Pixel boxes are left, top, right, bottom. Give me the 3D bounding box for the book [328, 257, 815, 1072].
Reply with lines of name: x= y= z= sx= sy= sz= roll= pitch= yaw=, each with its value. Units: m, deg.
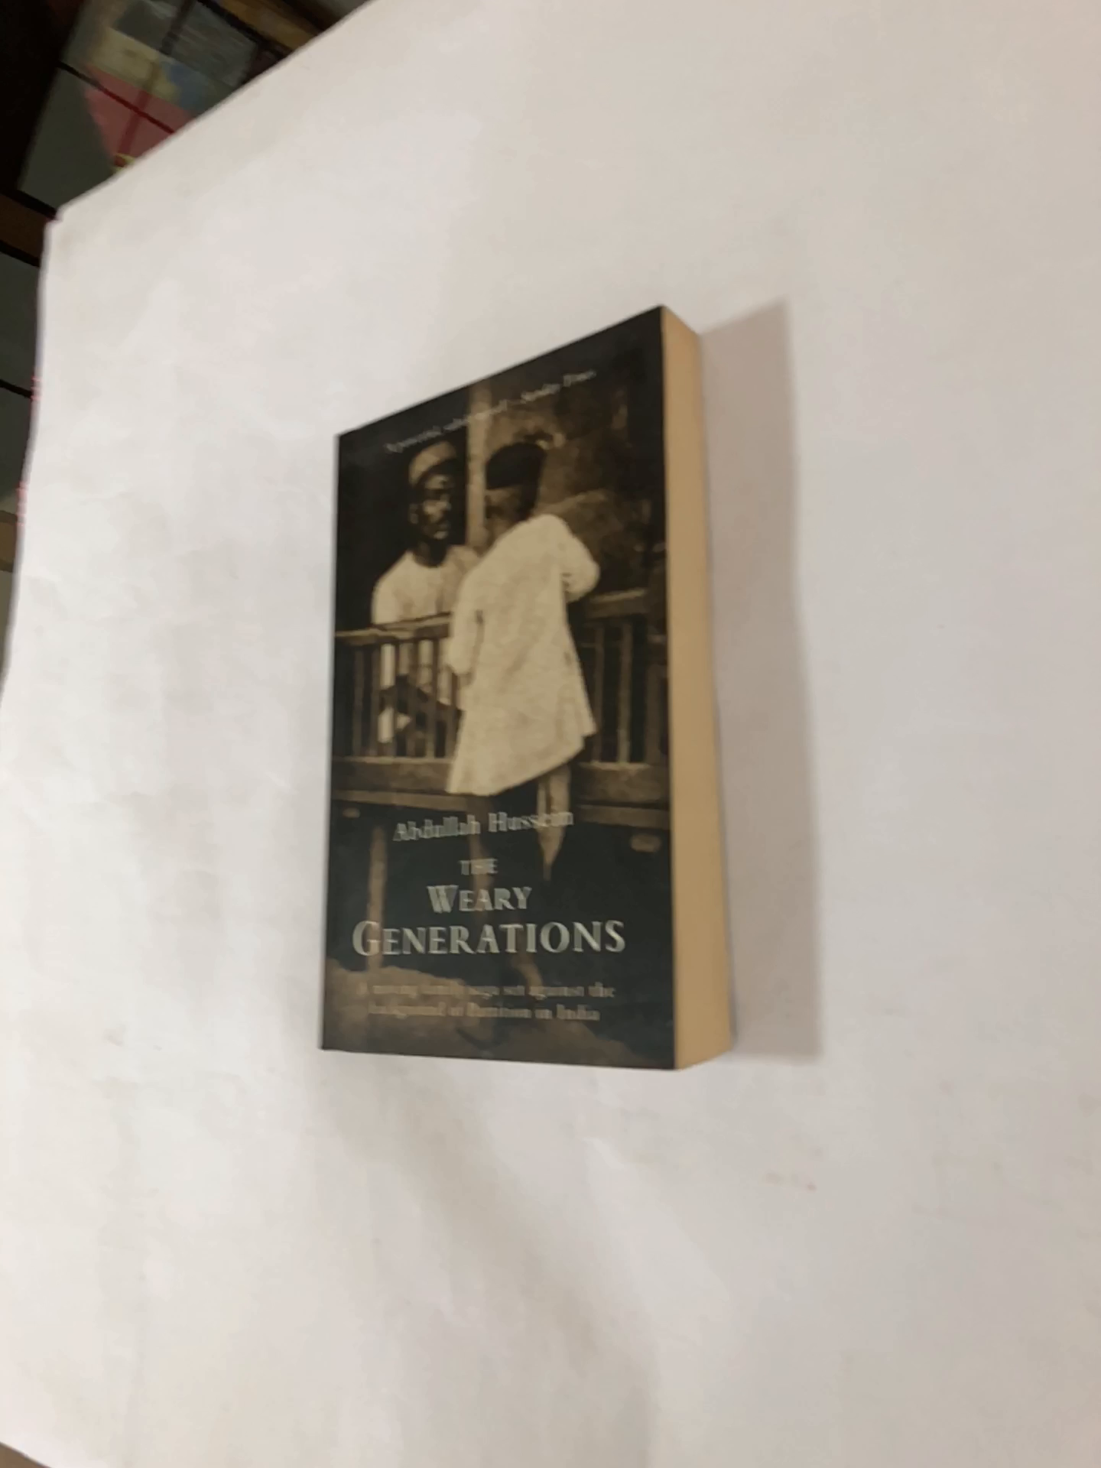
book: x=-0.001 y=-0.012 z=0.344 sx=0.141 sy=0.030 sz=0.200 roll=-10 pitch=75 yaw=38
